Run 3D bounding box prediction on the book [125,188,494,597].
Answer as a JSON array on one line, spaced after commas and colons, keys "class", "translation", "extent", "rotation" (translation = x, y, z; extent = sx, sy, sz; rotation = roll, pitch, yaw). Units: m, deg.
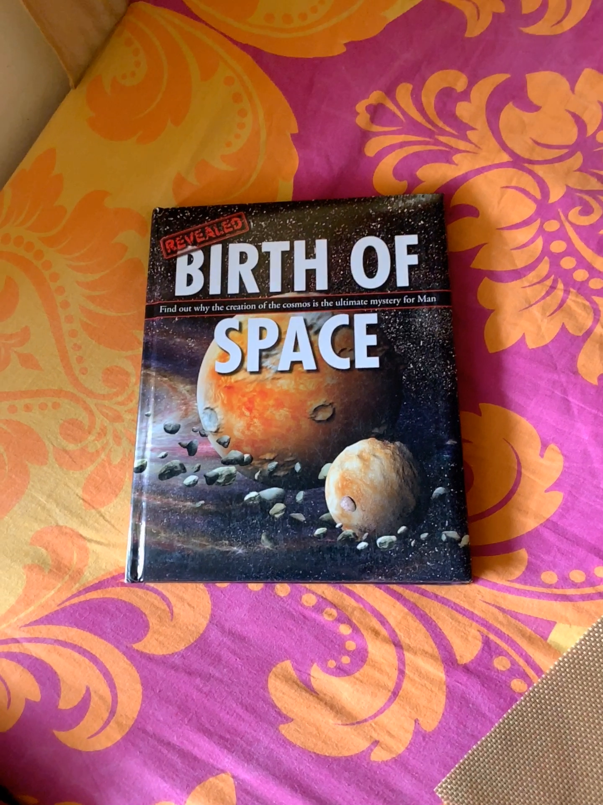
[{"class": "book", "translation": [0.003, -0.012, 0.397], "extent": [0.211, 0.020, 0.258], "rotation": [-1, 75, 5]}]
